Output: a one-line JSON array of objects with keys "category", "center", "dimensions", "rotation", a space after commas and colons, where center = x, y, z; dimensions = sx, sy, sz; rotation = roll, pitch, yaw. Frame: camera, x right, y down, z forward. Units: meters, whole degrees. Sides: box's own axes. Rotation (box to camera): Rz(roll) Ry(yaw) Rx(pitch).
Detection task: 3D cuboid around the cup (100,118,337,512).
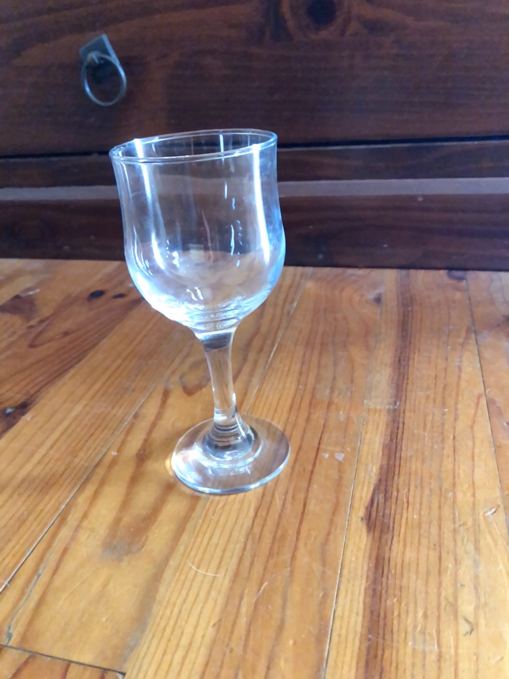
[{"category": "cup", "center": [-0.015, -0.014, 0.268], "dimensions": [0.082, 0.157, 0.077], "rotation": [-4, 27, 2]}]
